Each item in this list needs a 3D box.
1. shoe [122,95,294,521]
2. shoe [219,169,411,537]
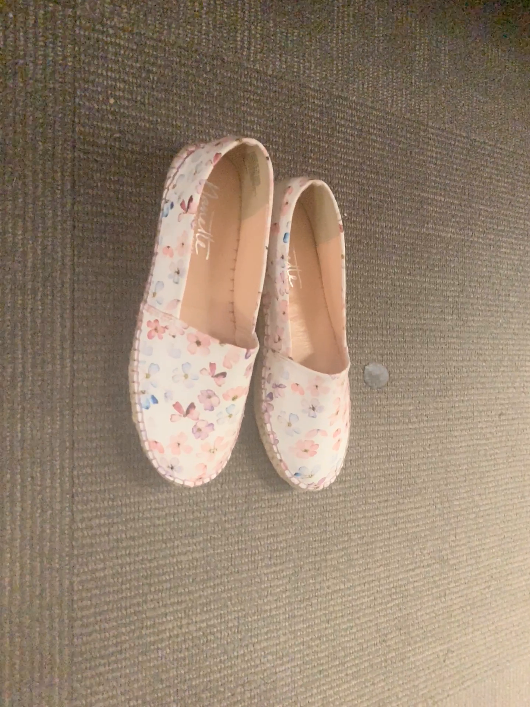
[{"bbox_3d":[-0.043,-0.027,0.390,0.092,0.080,0.263,2,89,-30],"label":"shoe"},{"bbox_3d":[0.041,-0.004,0.438,0.092,0.080,0.263,-11,96,-30],"label":"shoe"}]
